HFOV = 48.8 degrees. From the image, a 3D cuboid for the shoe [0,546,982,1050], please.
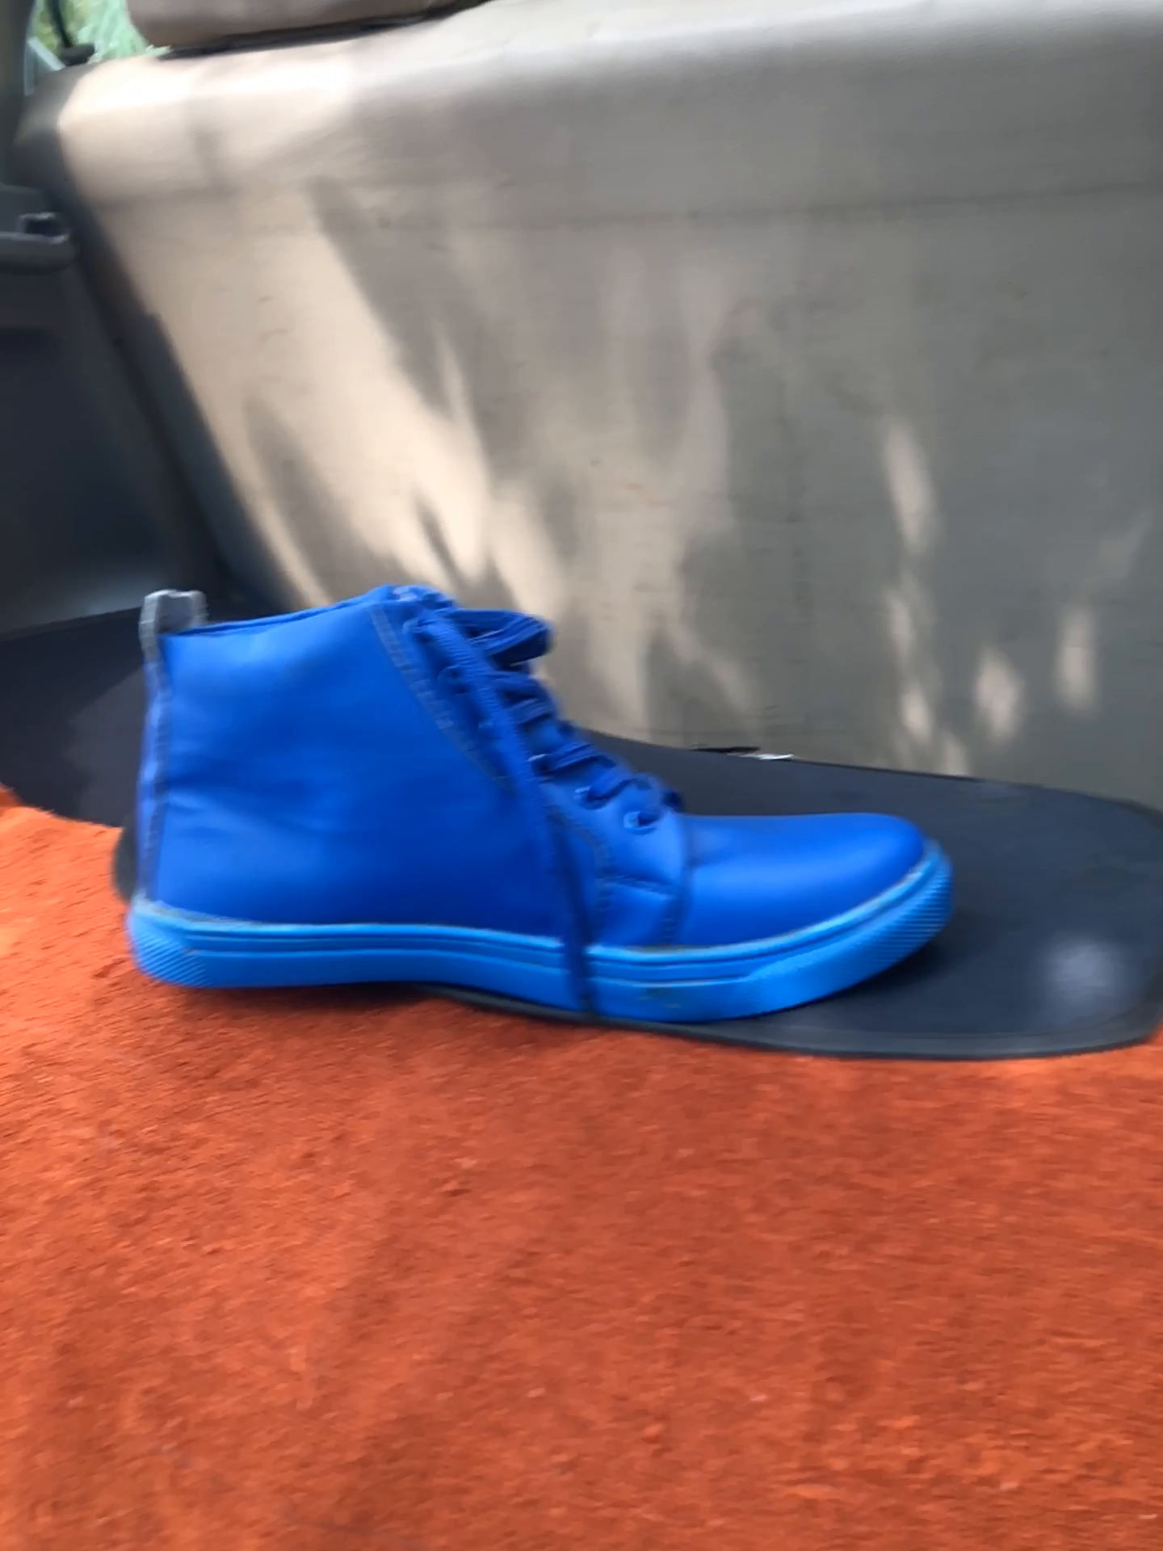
[{"bbox_3d":[-0.026,0.000,0.440,0.290,0.139,0.100,1,19,7],"label":"shoe"}]
